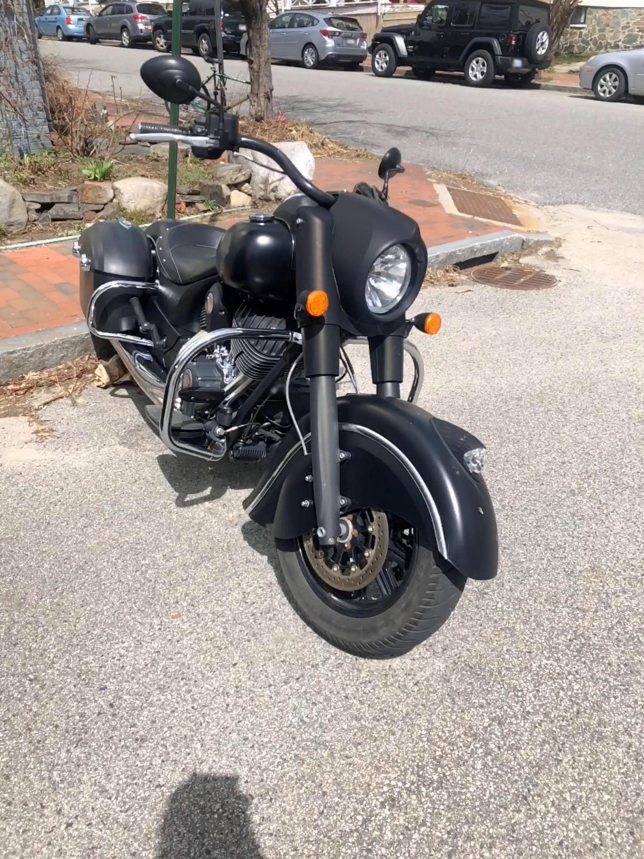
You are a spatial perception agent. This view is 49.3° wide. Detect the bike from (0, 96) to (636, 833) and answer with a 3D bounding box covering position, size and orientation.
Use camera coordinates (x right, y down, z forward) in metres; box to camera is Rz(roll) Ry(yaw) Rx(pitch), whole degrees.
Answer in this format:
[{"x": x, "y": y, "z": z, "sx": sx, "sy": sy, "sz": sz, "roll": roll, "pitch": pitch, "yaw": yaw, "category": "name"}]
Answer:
[{"x": -0.257, "y": -0.237, "z": 2.276, "sx": 0.858, "sy": 1.301, "sz": 2.096, "roll": -18, "pitch": 35, "yaw": -28, "category": "bike"}]
